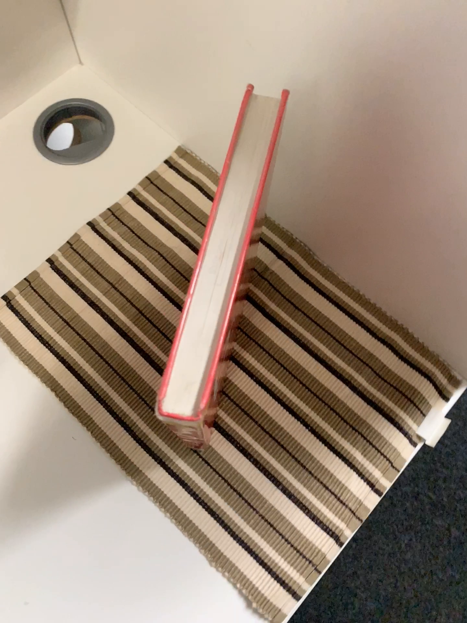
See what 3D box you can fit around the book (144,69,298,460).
[{"bbox_3d":[-0.006,0.000,0.354,0.030,0.251,0.201,13,71,2],"label":"book"}]
